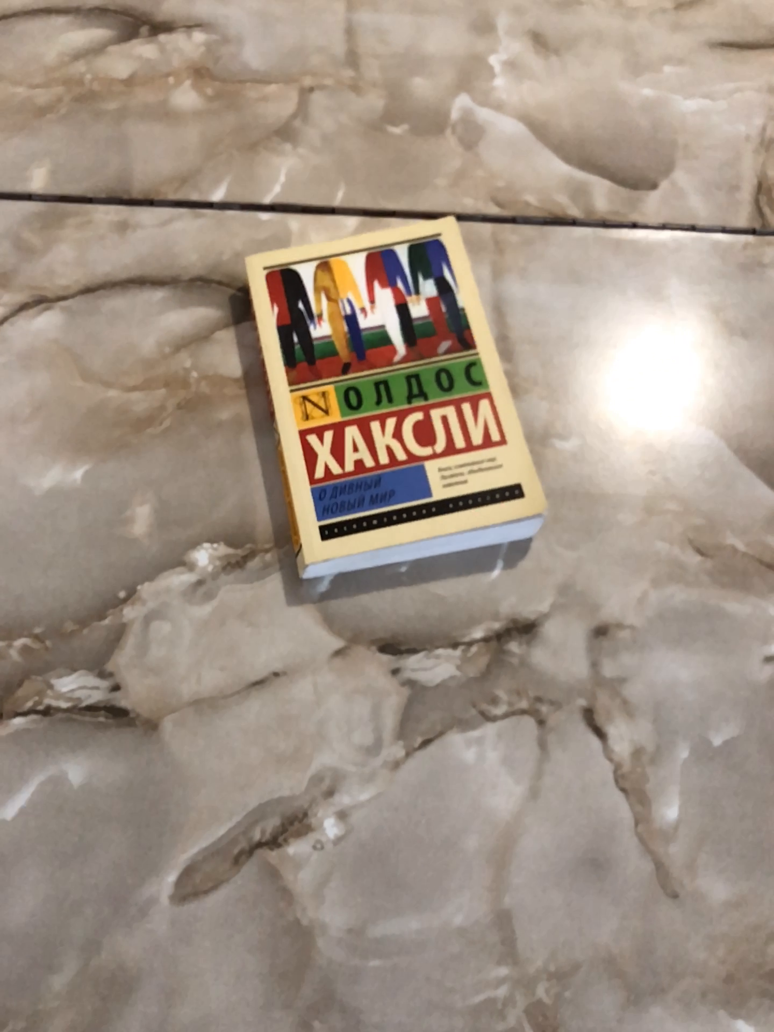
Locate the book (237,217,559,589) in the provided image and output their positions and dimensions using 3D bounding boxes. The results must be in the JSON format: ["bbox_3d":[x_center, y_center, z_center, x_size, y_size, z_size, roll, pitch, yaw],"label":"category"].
[{"bbox_3d":[0.000,-0.064,0.434,0.120,0.020,0.184,-11,67,-6],"label":"book"}]
